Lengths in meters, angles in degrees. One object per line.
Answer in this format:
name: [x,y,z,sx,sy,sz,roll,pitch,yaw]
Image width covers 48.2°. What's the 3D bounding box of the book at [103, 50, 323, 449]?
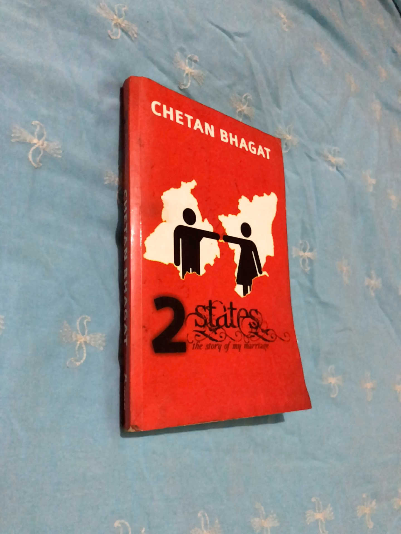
book: [0.011,-0.007,0.273,0.141,0.030,0.200,9,73,-41]
